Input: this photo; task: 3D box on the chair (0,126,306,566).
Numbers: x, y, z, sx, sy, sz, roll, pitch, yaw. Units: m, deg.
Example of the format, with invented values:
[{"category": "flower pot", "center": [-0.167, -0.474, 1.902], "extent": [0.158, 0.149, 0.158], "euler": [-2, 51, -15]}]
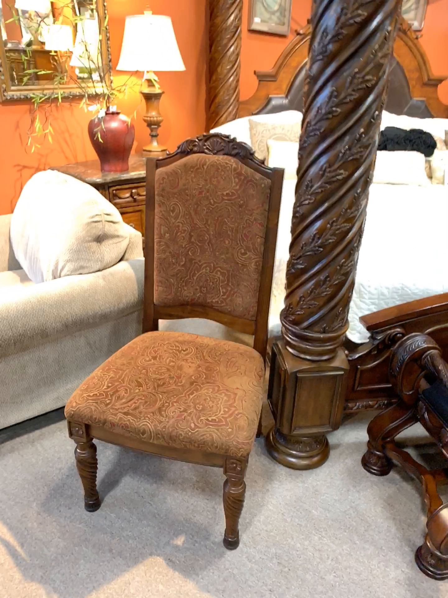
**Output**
[{"category": "chair", "center": [-0.133, 0.105, 1.448], "extent": [0.590, 1.123, 0.640], "euler": [8, 28, 14]}]

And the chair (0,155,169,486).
[{"category": "chair", "center": [-0.855, -0.038, 1.902], "extent": [0.898, 0.865, 0.883], "euler": [-17, 32, -31]}]
